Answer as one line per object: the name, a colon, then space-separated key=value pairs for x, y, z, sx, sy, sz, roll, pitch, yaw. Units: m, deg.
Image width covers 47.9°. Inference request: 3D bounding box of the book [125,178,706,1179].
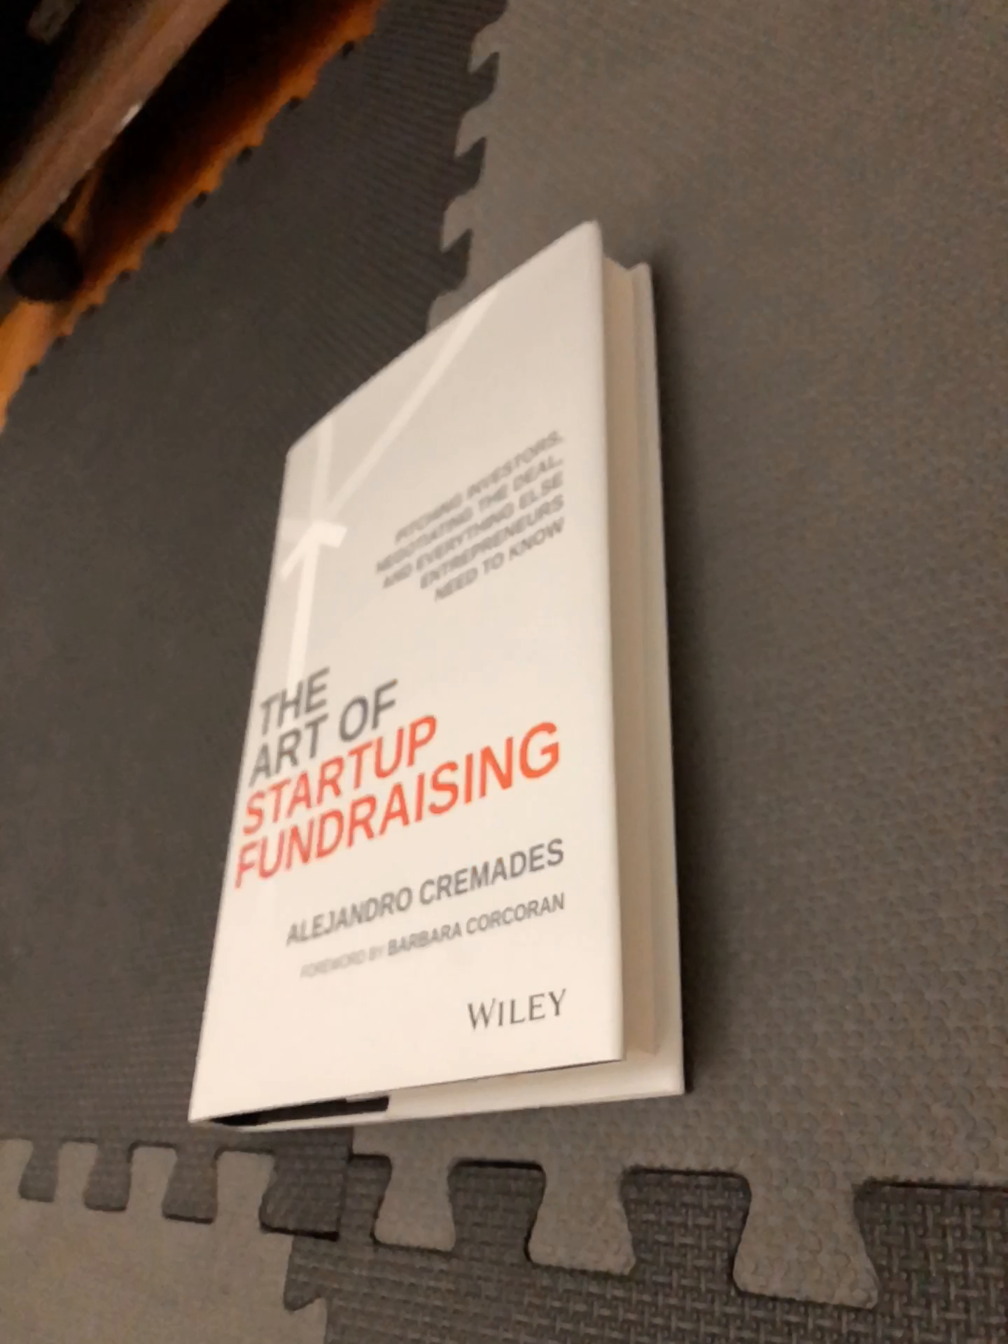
book: x=-0.025 y=0.004 z=0.320 sx=0.170 sy=0.030 sz=0.251 roll=-23 pitch=51 yaw=40
